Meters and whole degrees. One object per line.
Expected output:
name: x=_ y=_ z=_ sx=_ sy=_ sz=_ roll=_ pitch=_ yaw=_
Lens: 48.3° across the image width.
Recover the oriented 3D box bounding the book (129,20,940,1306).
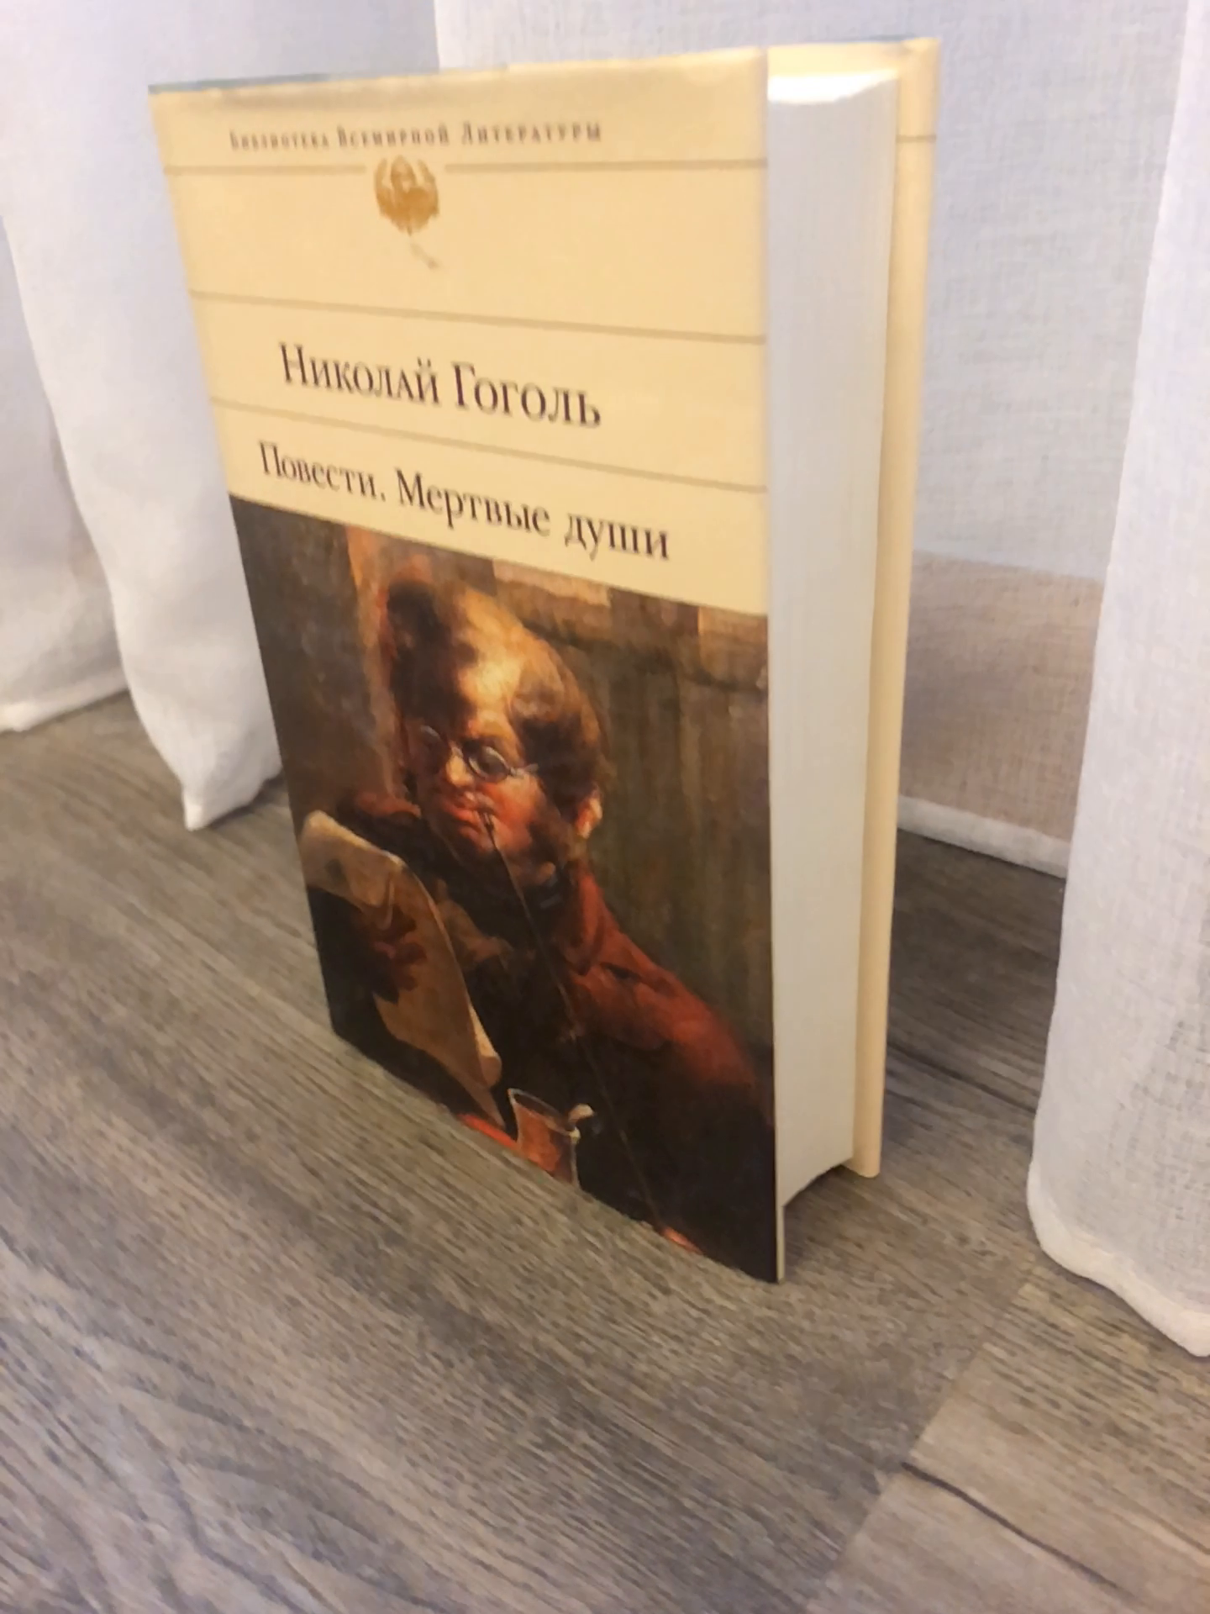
book: x=-0.012 y=-0.024 z=0.258 sx=0.134 sy=0.209 sz=0.041 roll=19 pitch=36 yaw=36
